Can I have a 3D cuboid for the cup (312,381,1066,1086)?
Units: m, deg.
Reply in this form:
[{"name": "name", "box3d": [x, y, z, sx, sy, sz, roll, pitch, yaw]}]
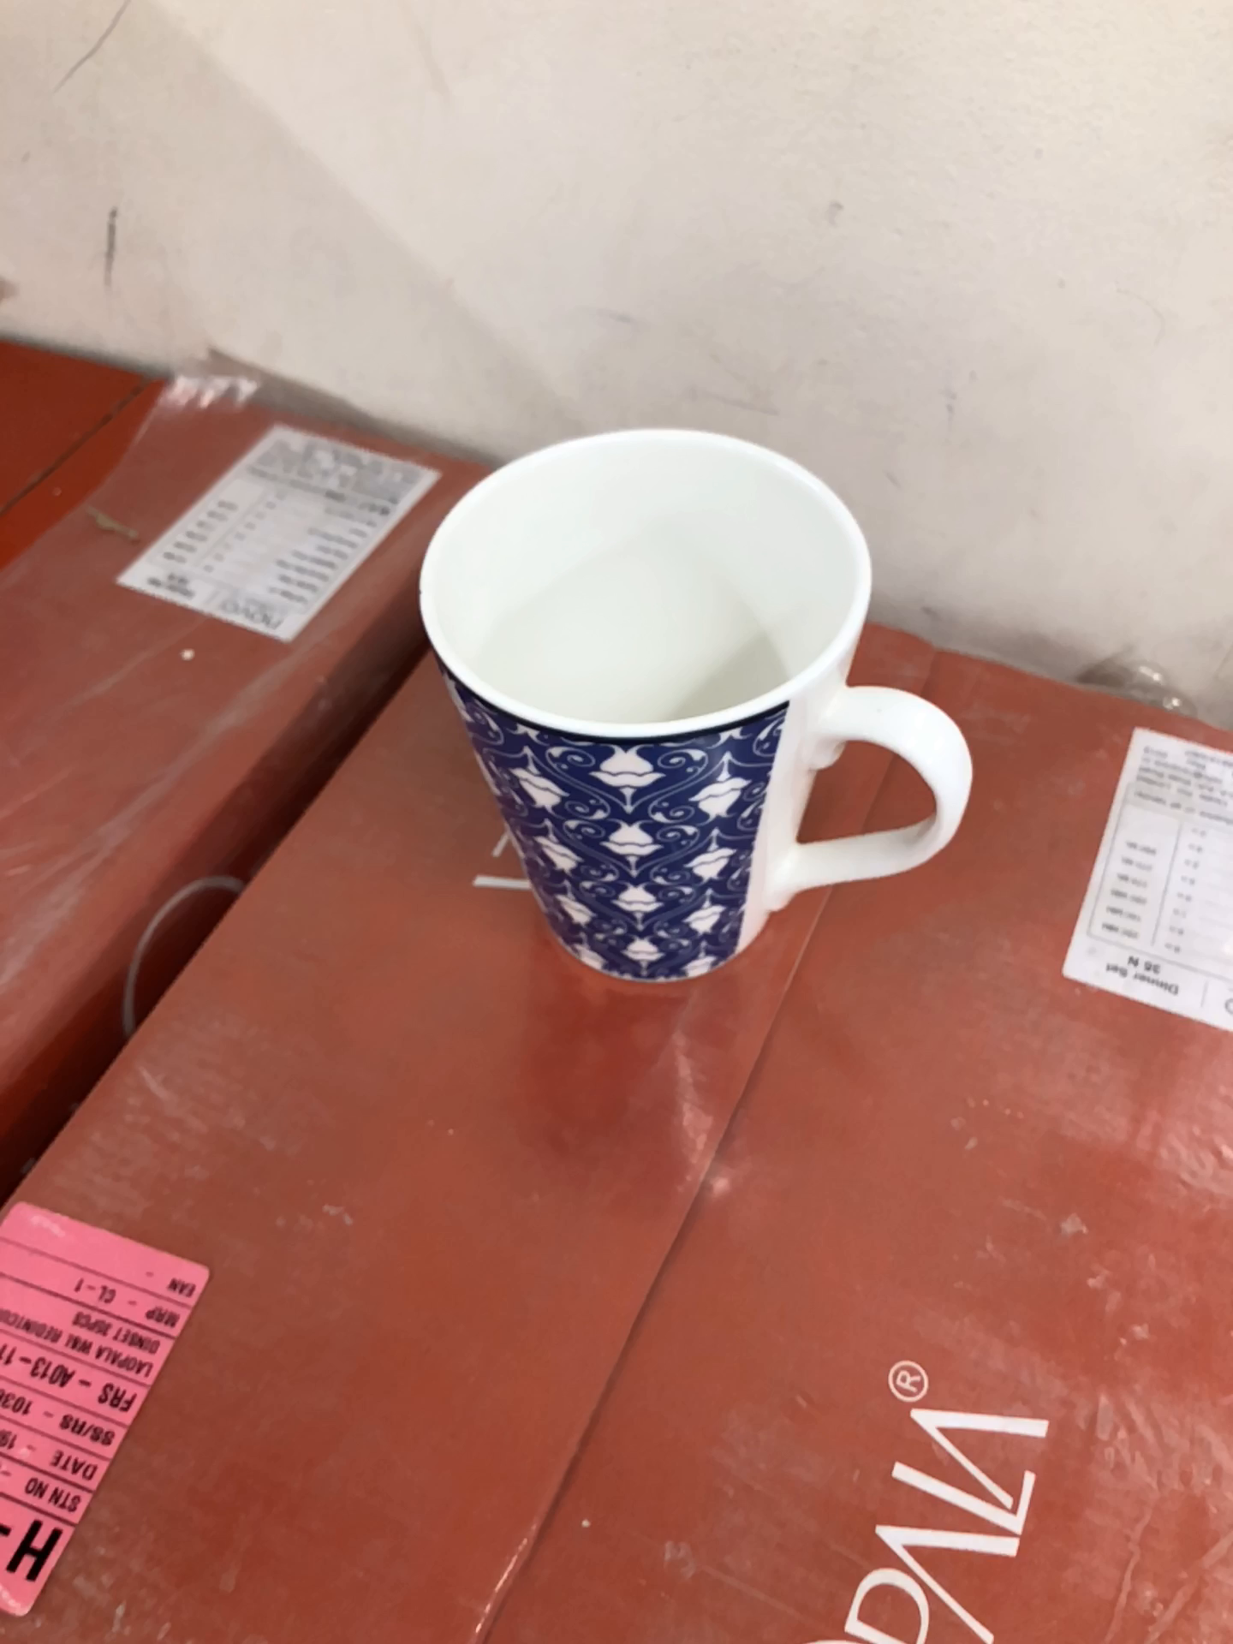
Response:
[{"name": "cup", "box3d": [0.018, -0.018, 0.290, 0.120, 0.099, 0.081, 13, 54, 12]}]
